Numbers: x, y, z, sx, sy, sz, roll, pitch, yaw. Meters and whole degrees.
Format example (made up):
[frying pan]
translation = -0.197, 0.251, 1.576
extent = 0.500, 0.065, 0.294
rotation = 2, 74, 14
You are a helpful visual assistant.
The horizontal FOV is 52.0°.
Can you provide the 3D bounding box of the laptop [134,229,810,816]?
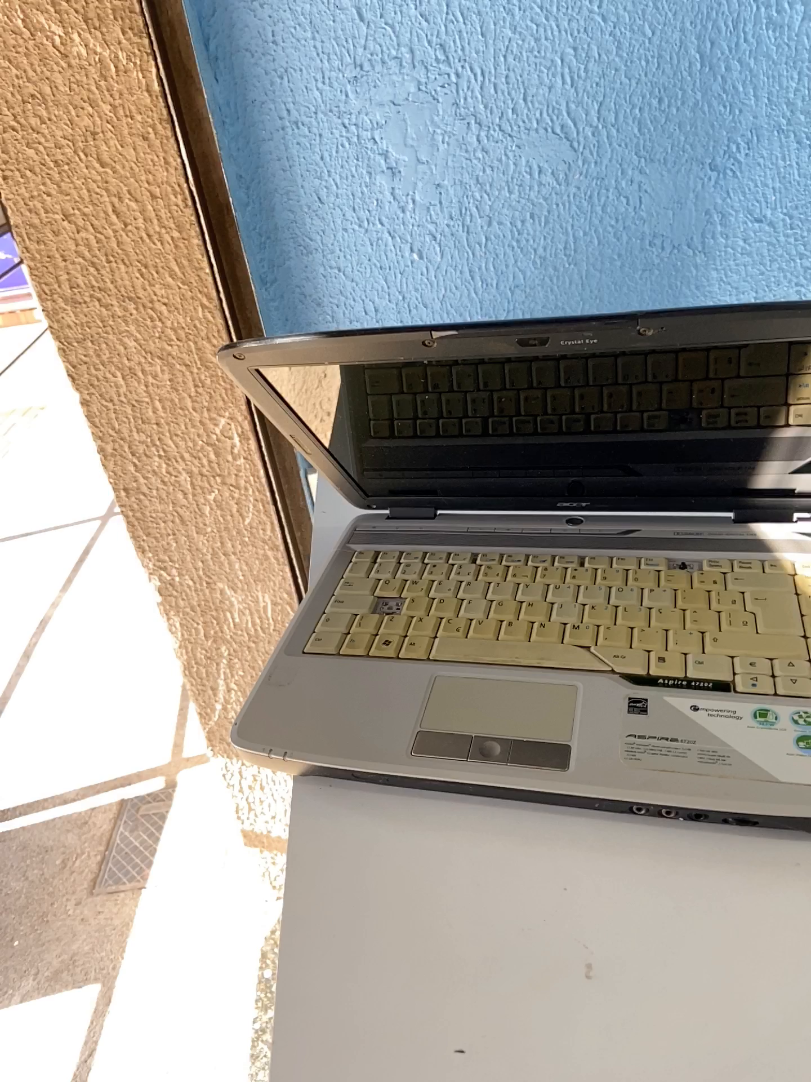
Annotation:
[laptop]
translation = 0.080, -0.027, 0.444
extent = 0.328, 0.179, 0.226
rotation = 1, 34, 17
